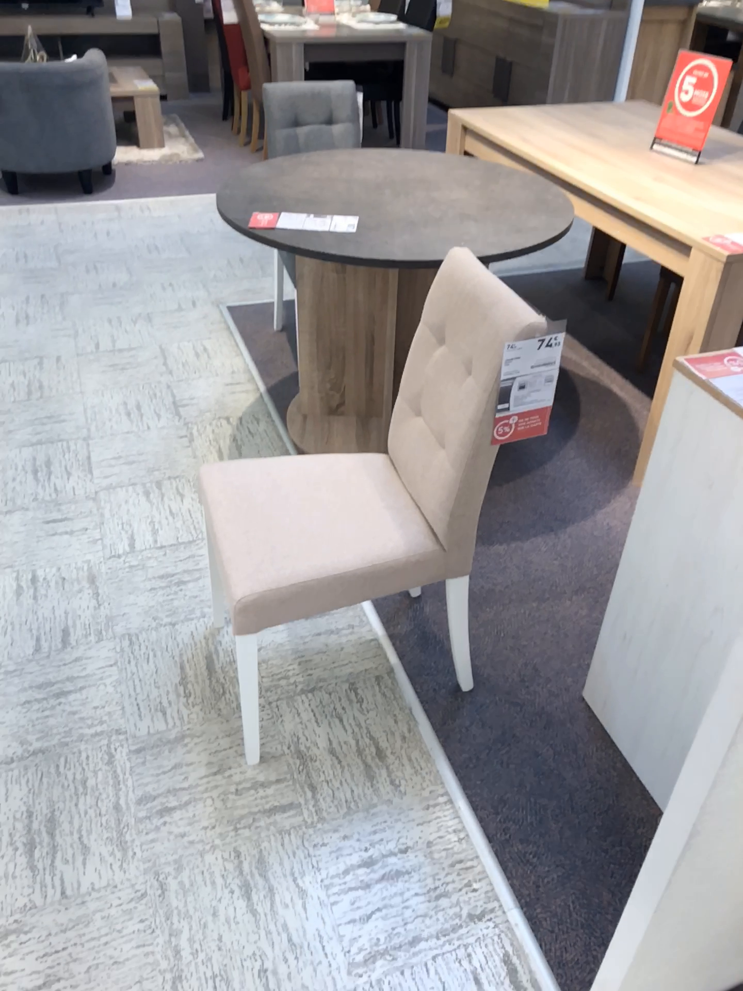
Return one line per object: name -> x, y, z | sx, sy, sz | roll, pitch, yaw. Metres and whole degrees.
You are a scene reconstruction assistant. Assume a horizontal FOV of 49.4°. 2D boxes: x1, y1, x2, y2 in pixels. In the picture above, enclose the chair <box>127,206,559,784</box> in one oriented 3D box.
chair -> -0.078, 0.003, 1.430 | 0.531, 0.854, 0.432 | -10, 37, -16
